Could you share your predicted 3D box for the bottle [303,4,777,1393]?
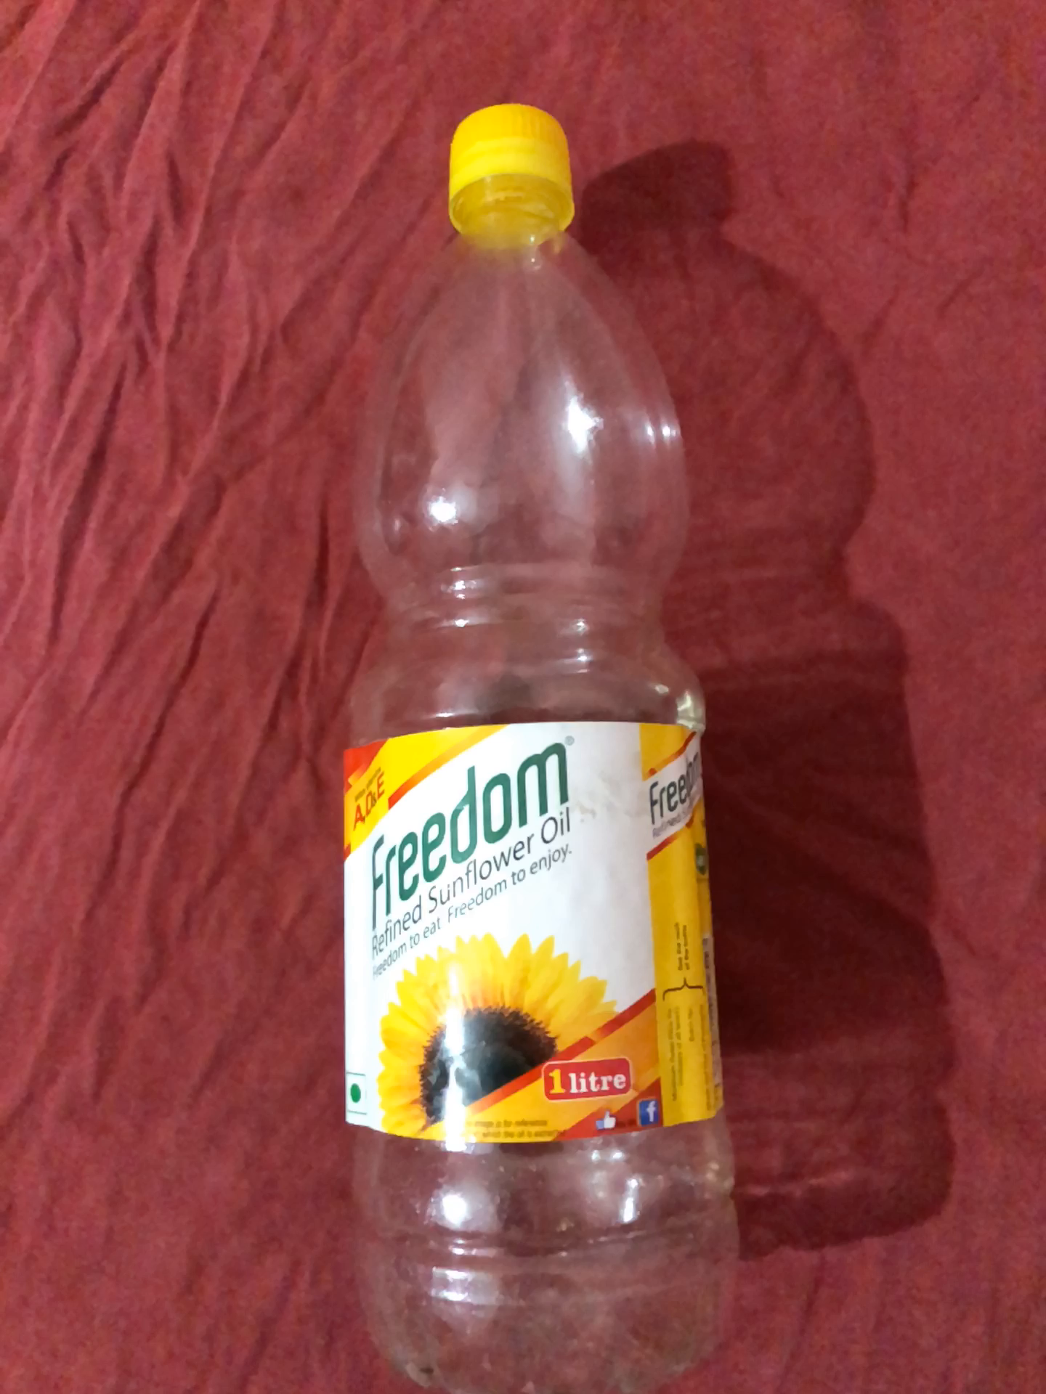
[{"bbox_3d":[0.002,0.002,0.247,0.080,0.060,0.270,-3,83,7],"label":"bottle"}]
